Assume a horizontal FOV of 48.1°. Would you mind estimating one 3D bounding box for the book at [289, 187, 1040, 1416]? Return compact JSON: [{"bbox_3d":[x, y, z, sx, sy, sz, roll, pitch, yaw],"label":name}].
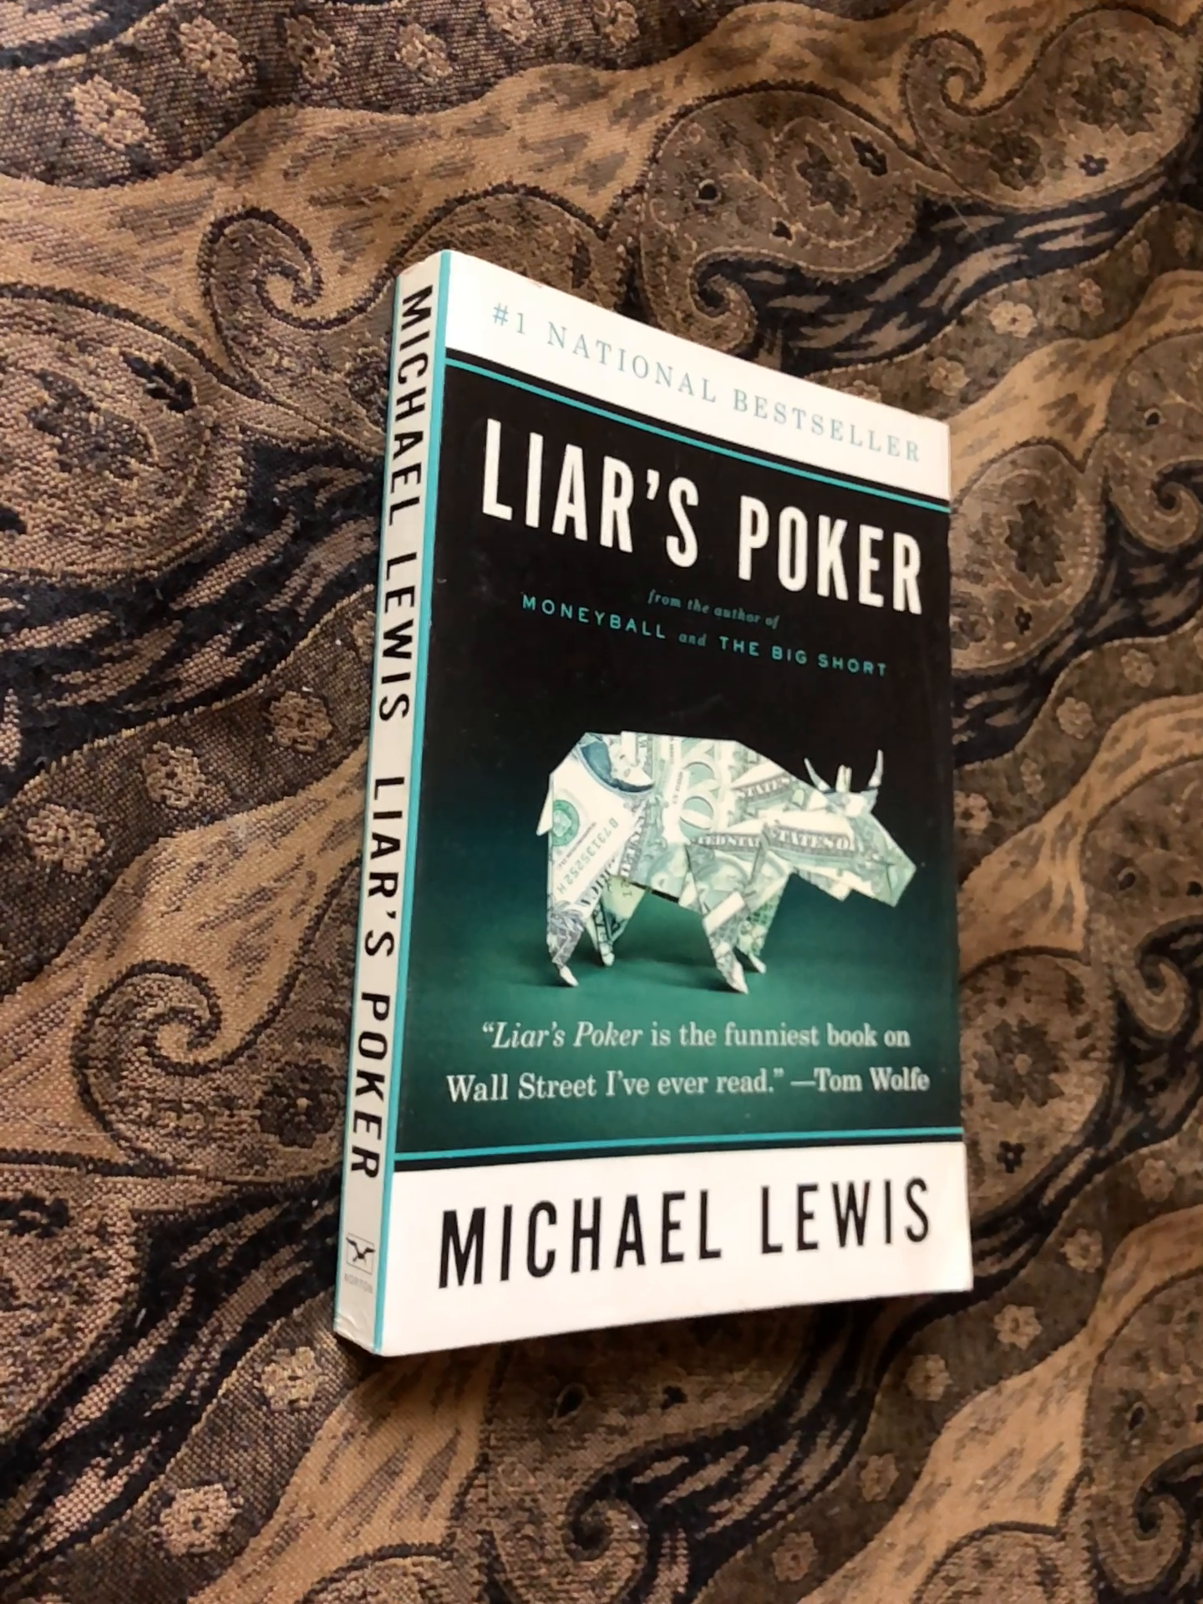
[{"bbox_3d":[0.023,0.004,0.285,0.151,0.040,0.210,8,82,-32],"label":"book"}]
